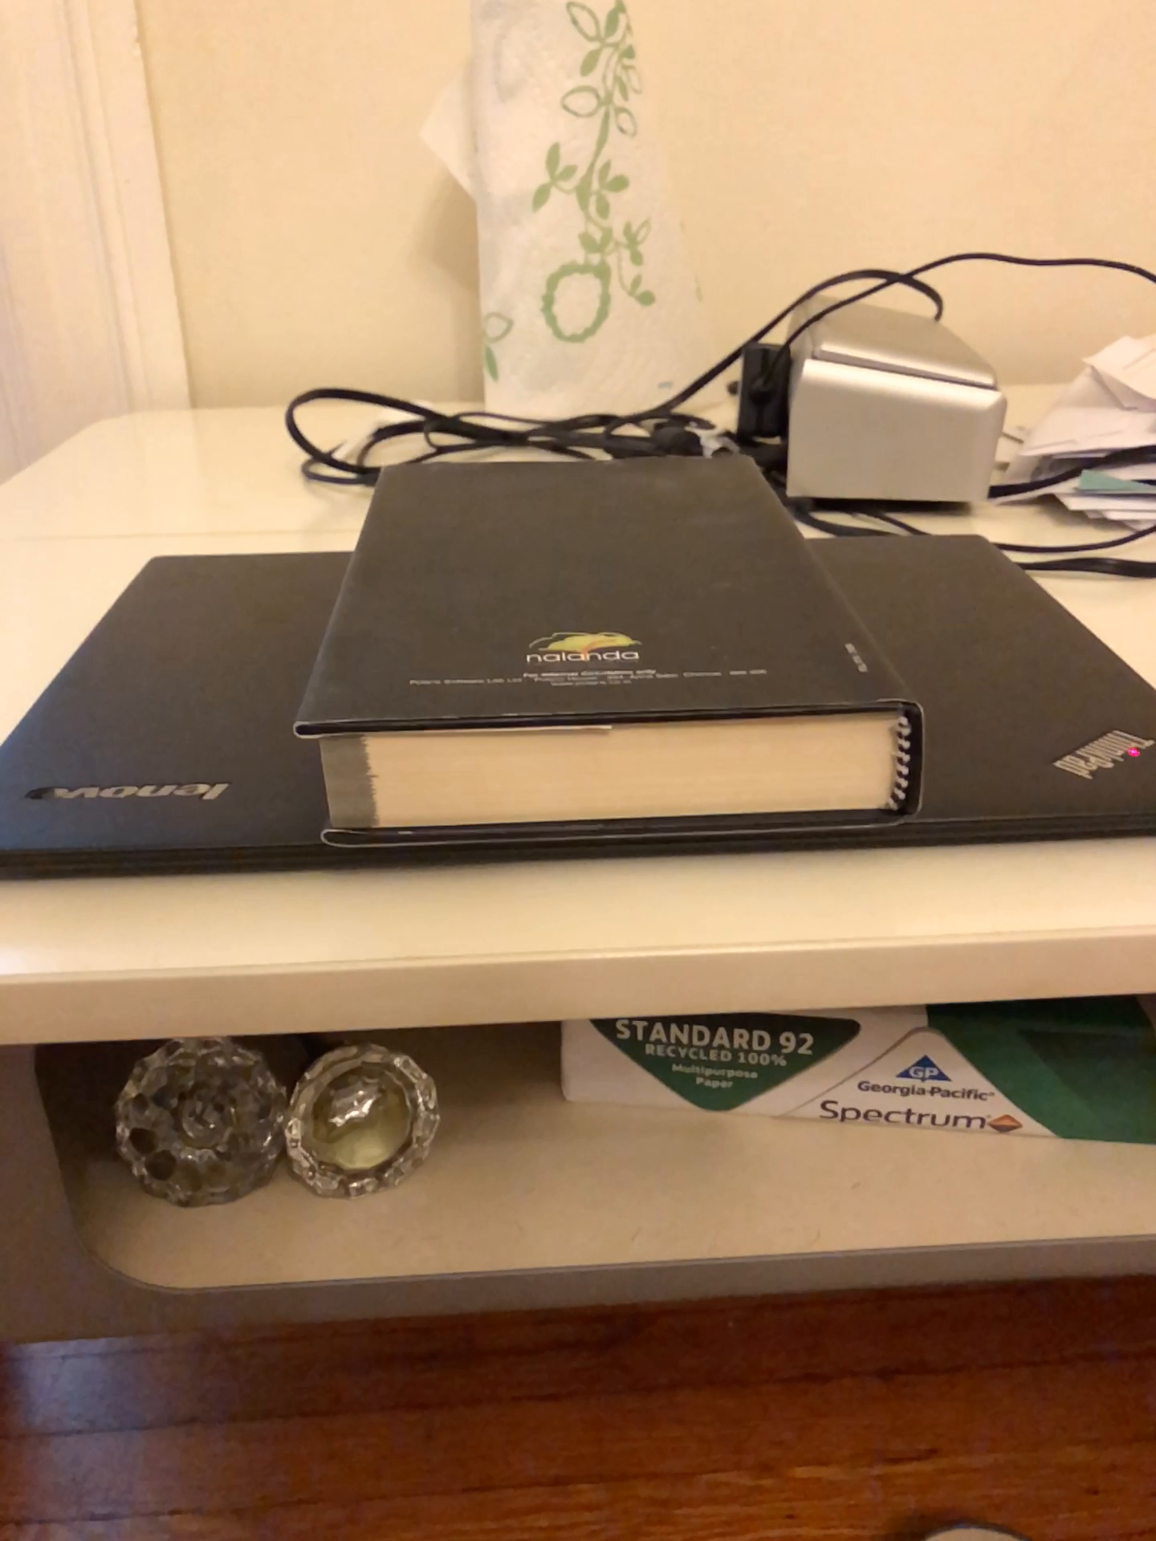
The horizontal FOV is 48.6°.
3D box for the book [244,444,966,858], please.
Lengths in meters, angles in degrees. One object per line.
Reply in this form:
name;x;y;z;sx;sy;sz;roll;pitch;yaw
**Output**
book;0.001;-0.051;0.378;0.150;0.040;0.231;-2;25;-2
